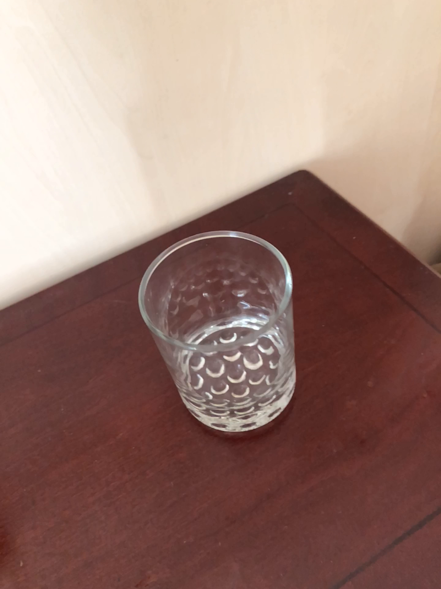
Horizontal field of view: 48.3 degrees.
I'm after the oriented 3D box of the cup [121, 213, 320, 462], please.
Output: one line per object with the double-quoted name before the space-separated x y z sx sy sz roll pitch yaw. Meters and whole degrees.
"cup" 0.002 0.026 0.286 0.081 0.097 0.082 -5 49 6
